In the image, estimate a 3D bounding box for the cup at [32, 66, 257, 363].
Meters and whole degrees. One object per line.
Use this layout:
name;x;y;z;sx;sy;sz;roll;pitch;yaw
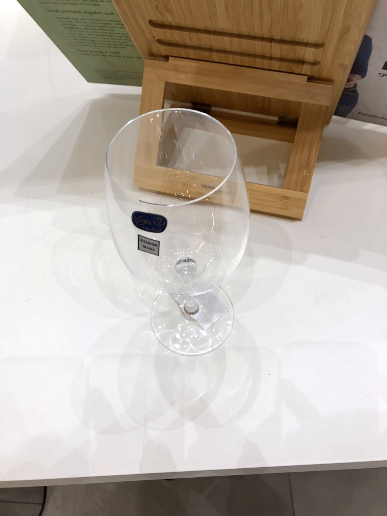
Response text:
cup;-0.015;-0.005;0.315;0.100;0.239;0.090;0;59;3
